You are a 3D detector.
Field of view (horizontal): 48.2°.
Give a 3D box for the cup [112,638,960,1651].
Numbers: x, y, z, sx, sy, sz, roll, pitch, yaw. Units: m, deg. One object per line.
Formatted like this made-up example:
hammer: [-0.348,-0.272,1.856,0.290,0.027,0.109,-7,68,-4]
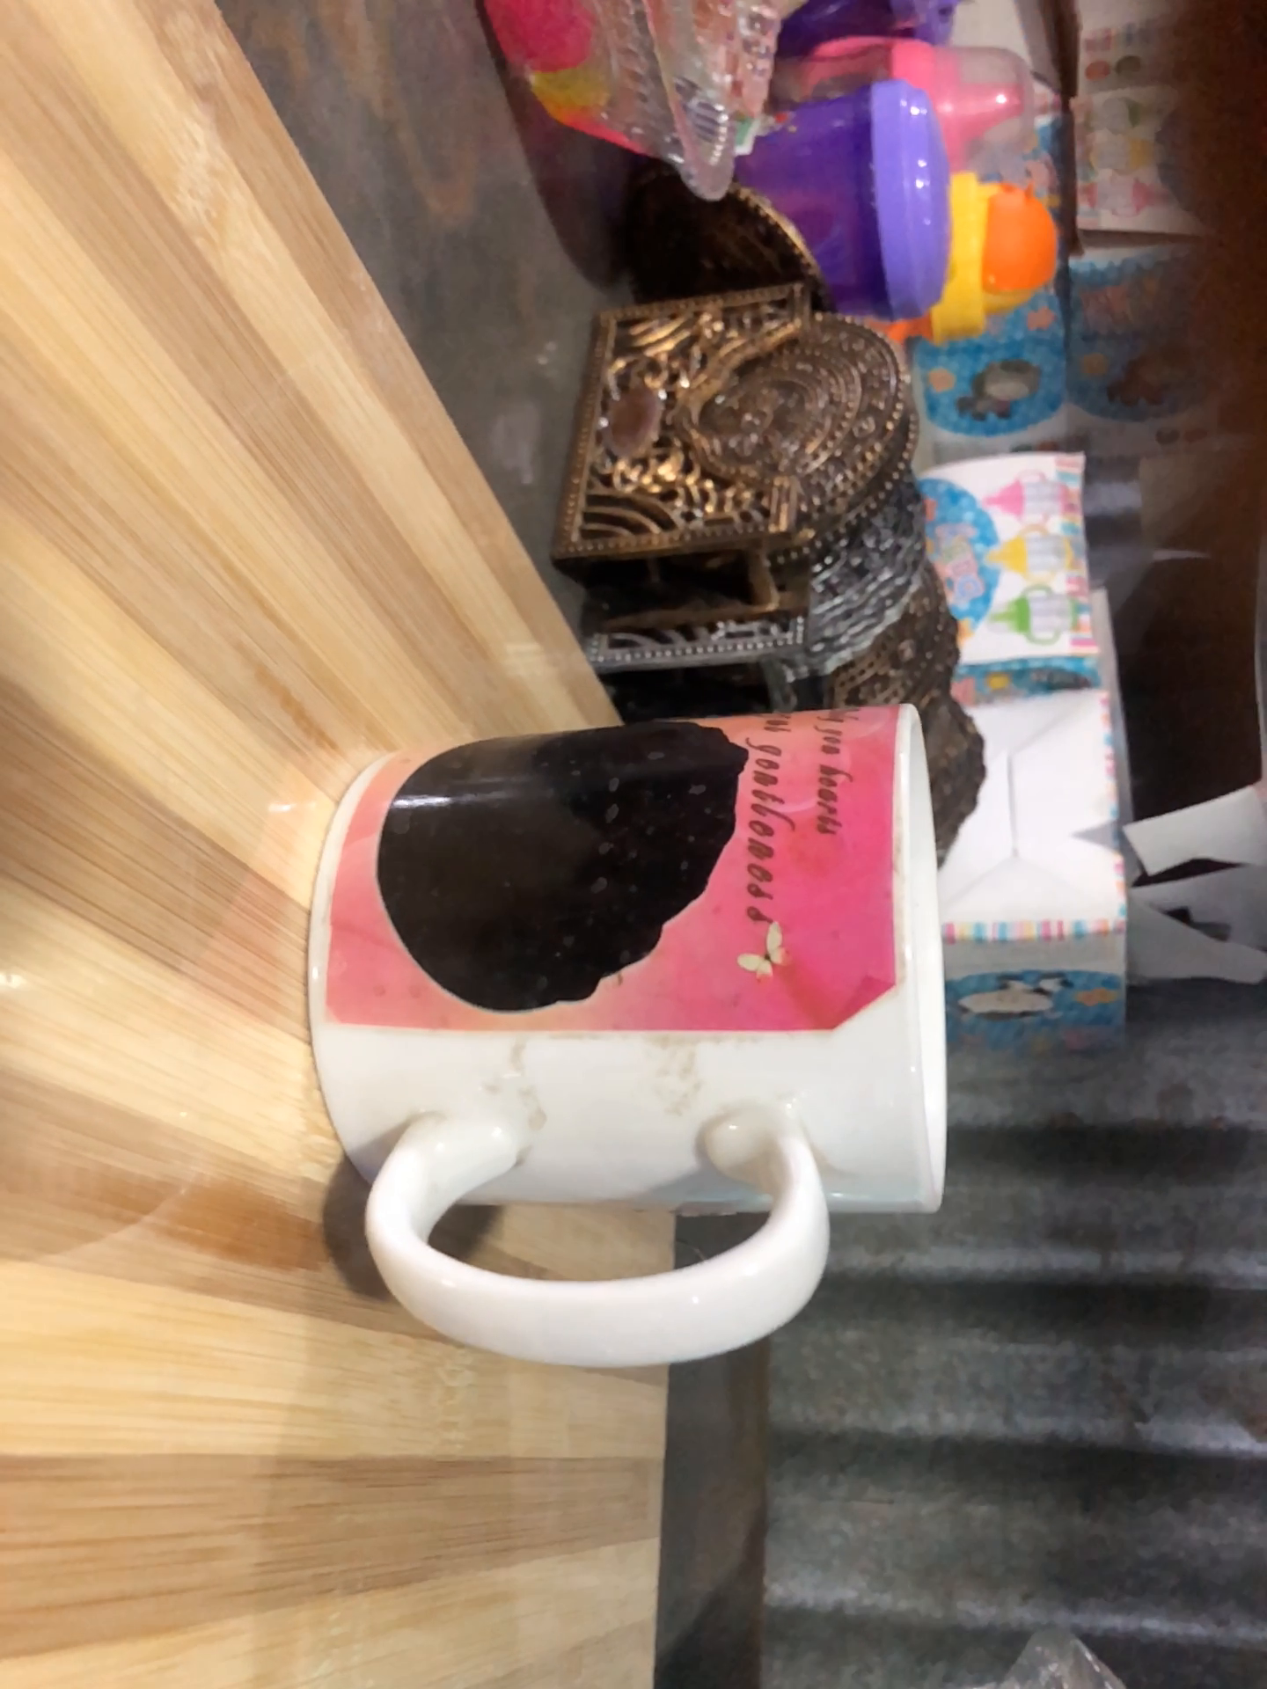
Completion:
cup: [0.003,0.038,0.223,0.120,0.090,0.090,-72,156,-54]
